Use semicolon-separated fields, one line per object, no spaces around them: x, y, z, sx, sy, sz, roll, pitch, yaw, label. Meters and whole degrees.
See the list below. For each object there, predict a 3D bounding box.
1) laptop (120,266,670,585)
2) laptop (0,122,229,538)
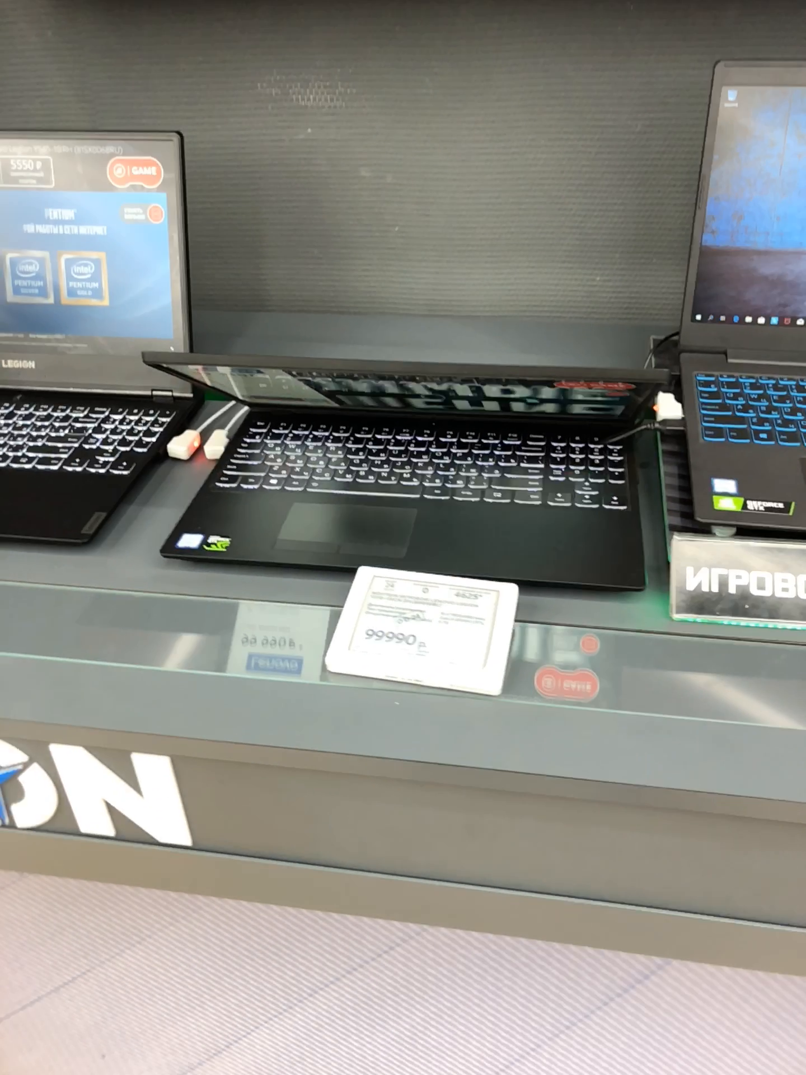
0.008;-0.102;0.686;0.353;0.136;0.228;4;35;9;laptop
-0.403;-0.194;0.766;0.364;0.231;0.309;4;36;10;laptop
